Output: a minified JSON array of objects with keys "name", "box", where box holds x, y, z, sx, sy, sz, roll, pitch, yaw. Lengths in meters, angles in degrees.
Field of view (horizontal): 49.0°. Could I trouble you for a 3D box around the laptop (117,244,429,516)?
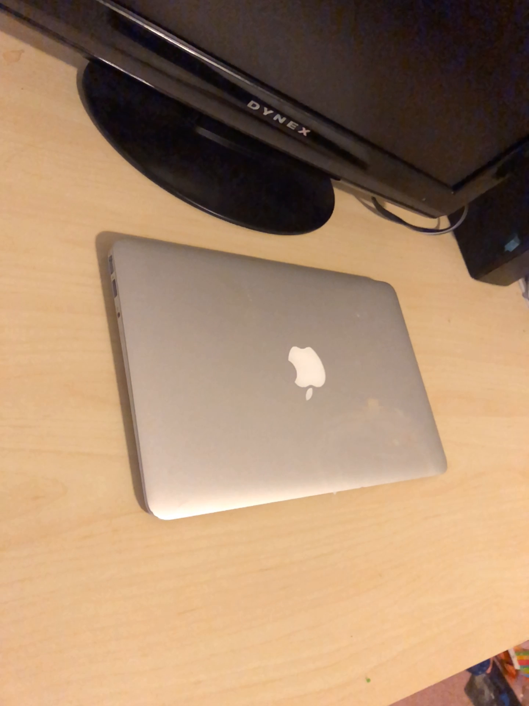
[{"name":"laptop","box":[0.023,0.015,0.462,0.279,0.005,0.181,2,68,-40]}]
